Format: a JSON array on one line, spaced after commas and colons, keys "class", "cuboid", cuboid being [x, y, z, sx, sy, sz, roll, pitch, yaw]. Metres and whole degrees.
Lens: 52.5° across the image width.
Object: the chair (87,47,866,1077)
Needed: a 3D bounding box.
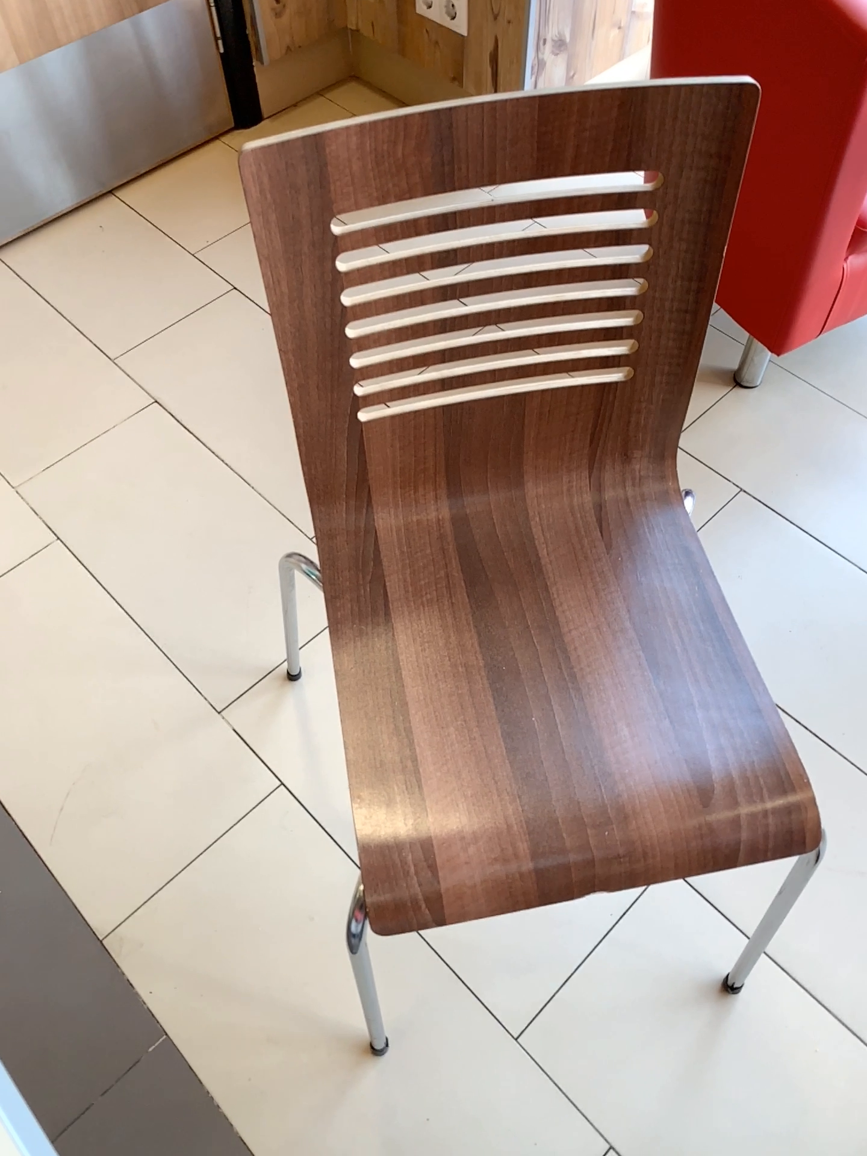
[{"class": "chair", "cuboid": [0.090, 0.071, 0.858, 0.544, 0.795, 0.594, -8, 57, -5]}]
